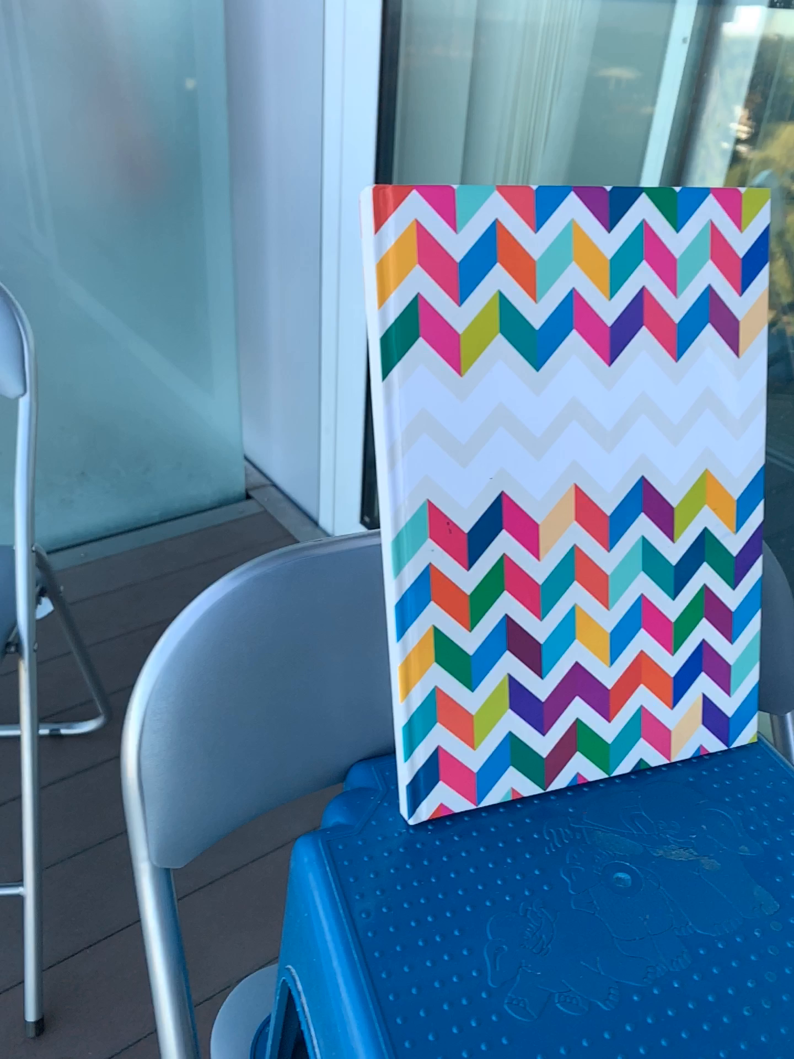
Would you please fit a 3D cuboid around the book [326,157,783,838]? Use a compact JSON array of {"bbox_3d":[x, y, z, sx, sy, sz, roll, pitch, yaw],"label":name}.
[{"bbox_3d":[0.084,-0.018,0.389,0.211,0.290,0.030,-7,11,-17],"label":"book"}]
